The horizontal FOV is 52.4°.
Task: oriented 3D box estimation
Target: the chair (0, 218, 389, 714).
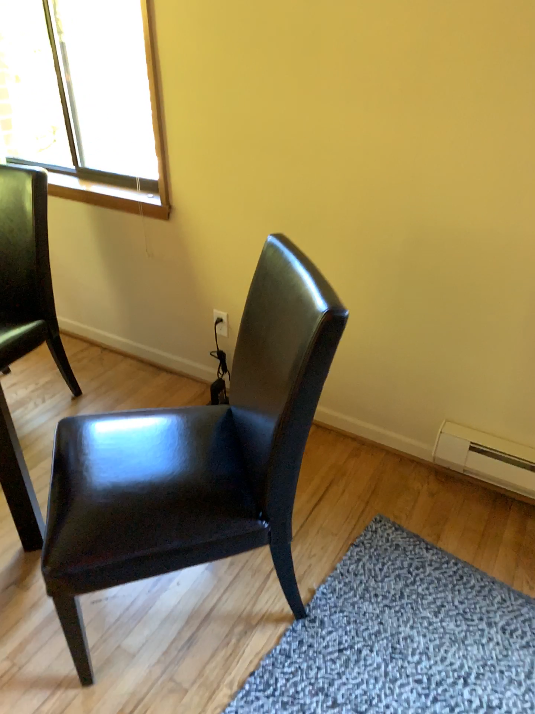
[{"bbox_3d":[-0.182,0.294,1.419,0.650,1.083,0.624,-9,33,-13],"label":"chair"}]
